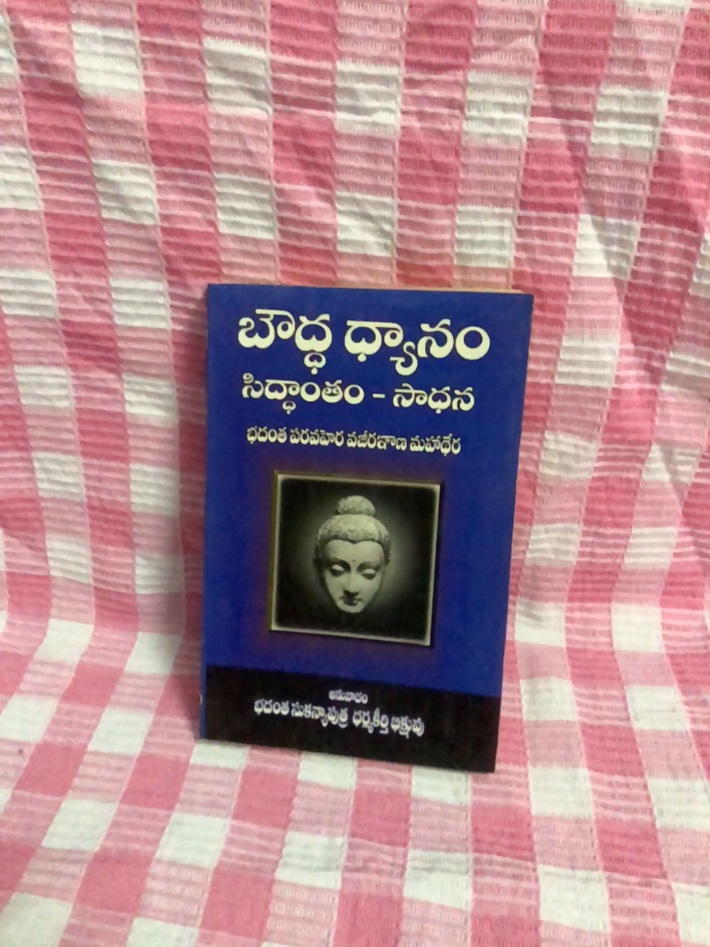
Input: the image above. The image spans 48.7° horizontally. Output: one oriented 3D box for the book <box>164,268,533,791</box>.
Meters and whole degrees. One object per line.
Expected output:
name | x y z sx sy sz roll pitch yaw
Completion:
book | -0.007 0.025 0.370 0.160 0.230 0.030 4 8 9
